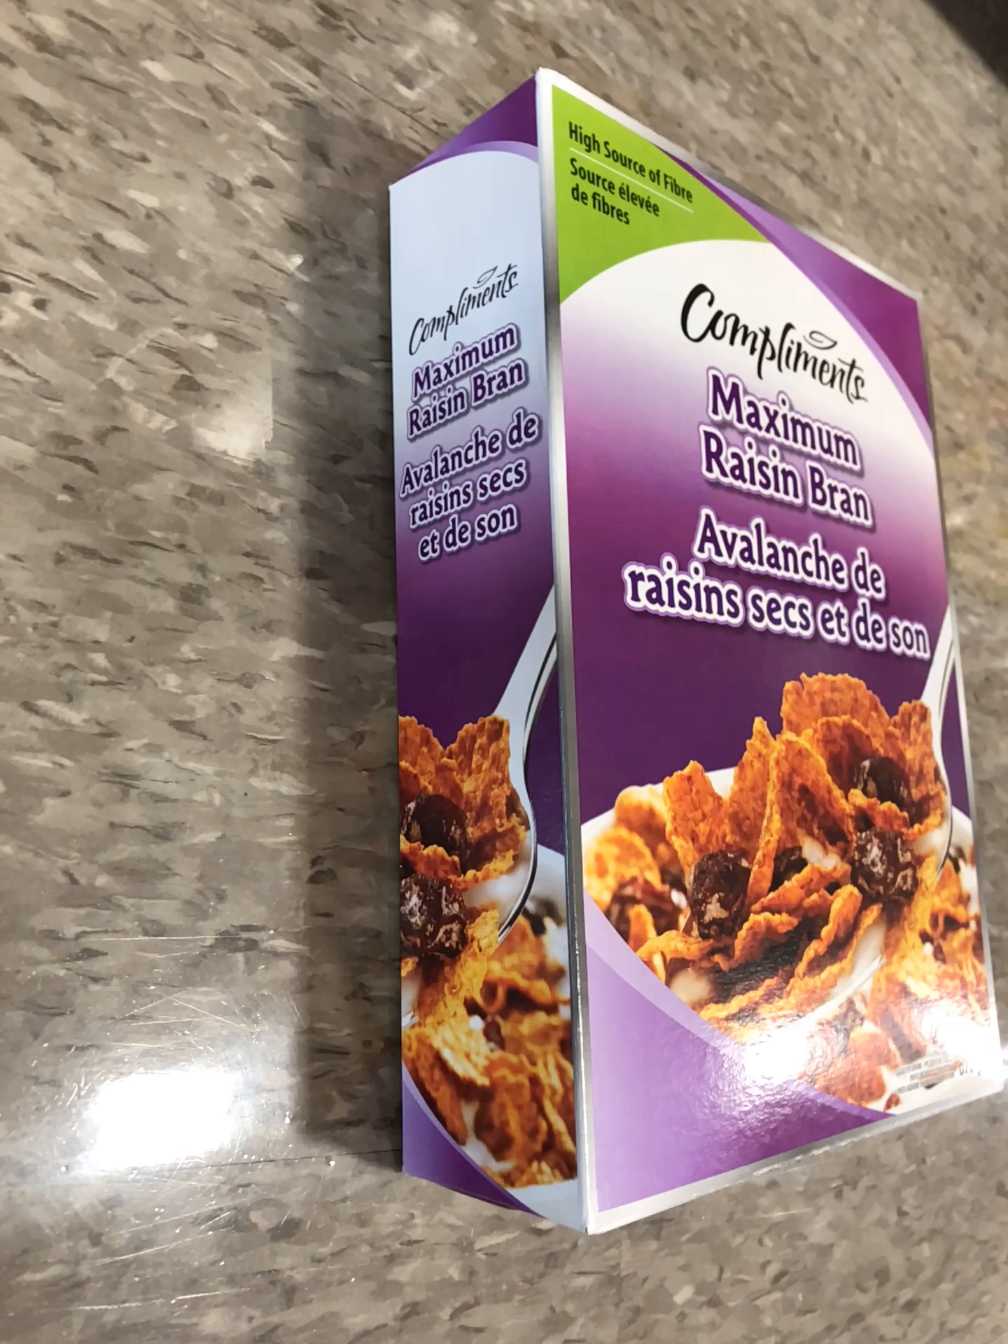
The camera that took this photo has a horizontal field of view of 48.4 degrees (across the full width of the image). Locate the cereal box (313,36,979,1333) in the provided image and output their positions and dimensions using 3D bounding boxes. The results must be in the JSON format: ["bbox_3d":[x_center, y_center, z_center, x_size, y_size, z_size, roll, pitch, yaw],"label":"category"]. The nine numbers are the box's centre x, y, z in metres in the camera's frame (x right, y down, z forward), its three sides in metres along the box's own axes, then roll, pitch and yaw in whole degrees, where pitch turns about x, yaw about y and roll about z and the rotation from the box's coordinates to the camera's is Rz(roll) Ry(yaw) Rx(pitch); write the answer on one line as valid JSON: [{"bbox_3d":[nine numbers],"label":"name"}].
[{"bbox_3d":[0.048,0.001,0.355,0.201,0.070,0.310,7,75,-41],"label":"cereal box"}]
